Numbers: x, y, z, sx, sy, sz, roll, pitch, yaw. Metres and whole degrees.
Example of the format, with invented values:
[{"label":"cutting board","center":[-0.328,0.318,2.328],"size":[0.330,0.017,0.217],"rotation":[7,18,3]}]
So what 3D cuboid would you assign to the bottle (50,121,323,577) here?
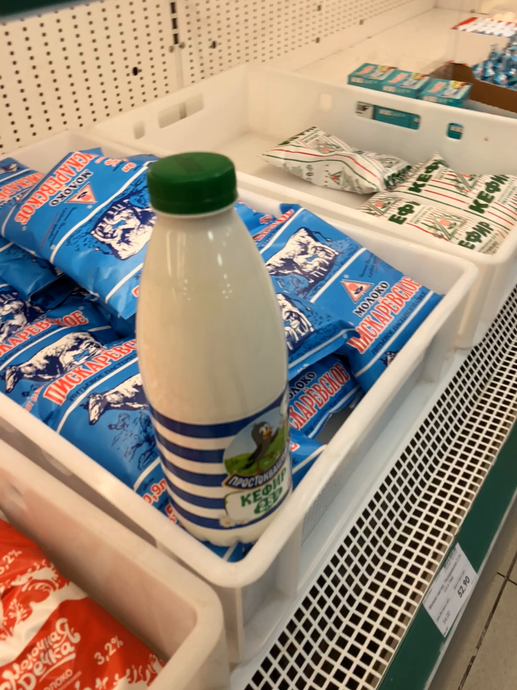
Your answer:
[{"label":"bottle","center":[-0.024,0.011,0.307],"size":[0.084,0.224,0.080],"rotation":[-3,38,2]}]
